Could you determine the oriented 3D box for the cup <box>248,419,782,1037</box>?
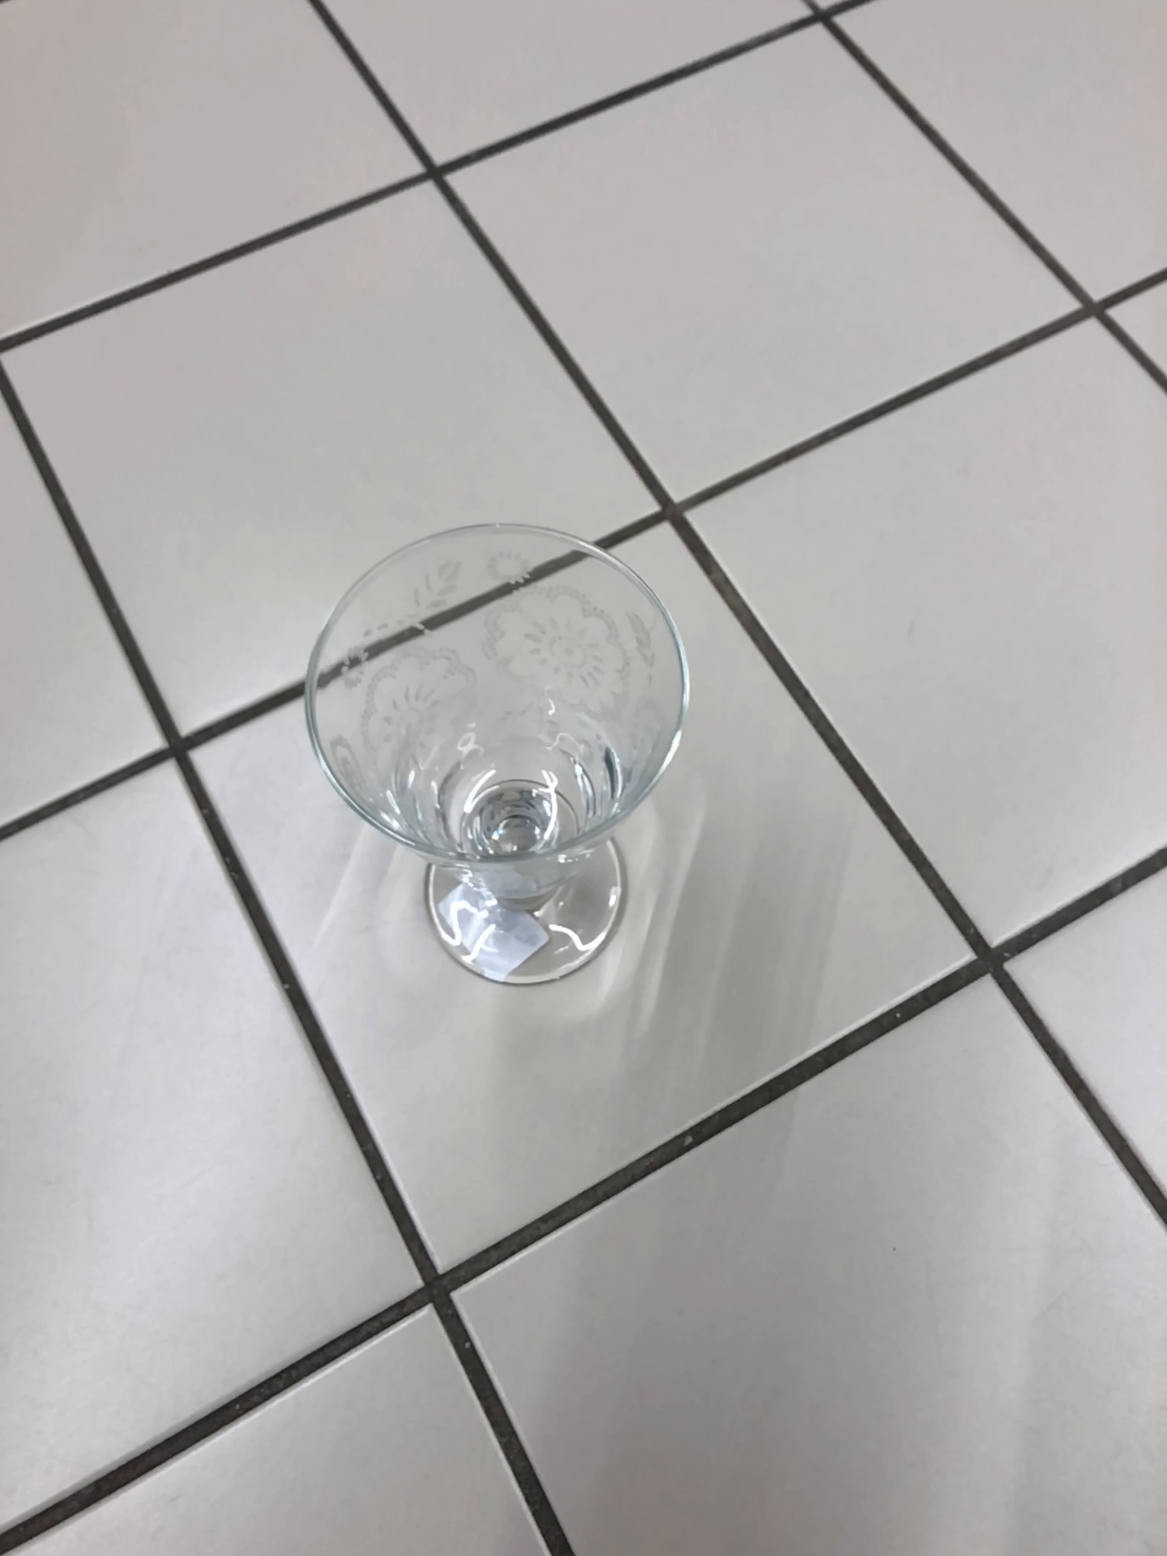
[{"bbox_3d":[-0.017,-0.004,0.349,0.095,0.138,0.094,0,67,0],"label":"cup"}]
